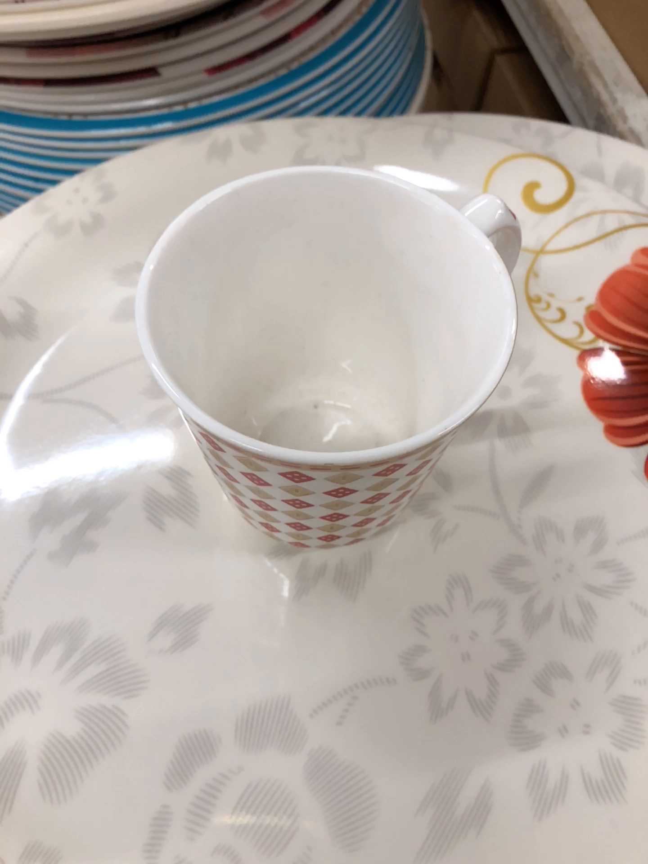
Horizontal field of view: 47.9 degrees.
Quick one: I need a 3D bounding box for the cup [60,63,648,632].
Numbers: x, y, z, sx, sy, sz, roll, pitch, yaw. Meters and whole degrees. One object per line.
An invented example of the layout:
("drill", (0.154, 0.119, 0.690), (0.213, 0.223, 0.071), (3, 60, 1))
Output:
("cup", (0.013, -0.022, 0.196), (0.120, 0.080, 0.080), (-28, 66, -16))
